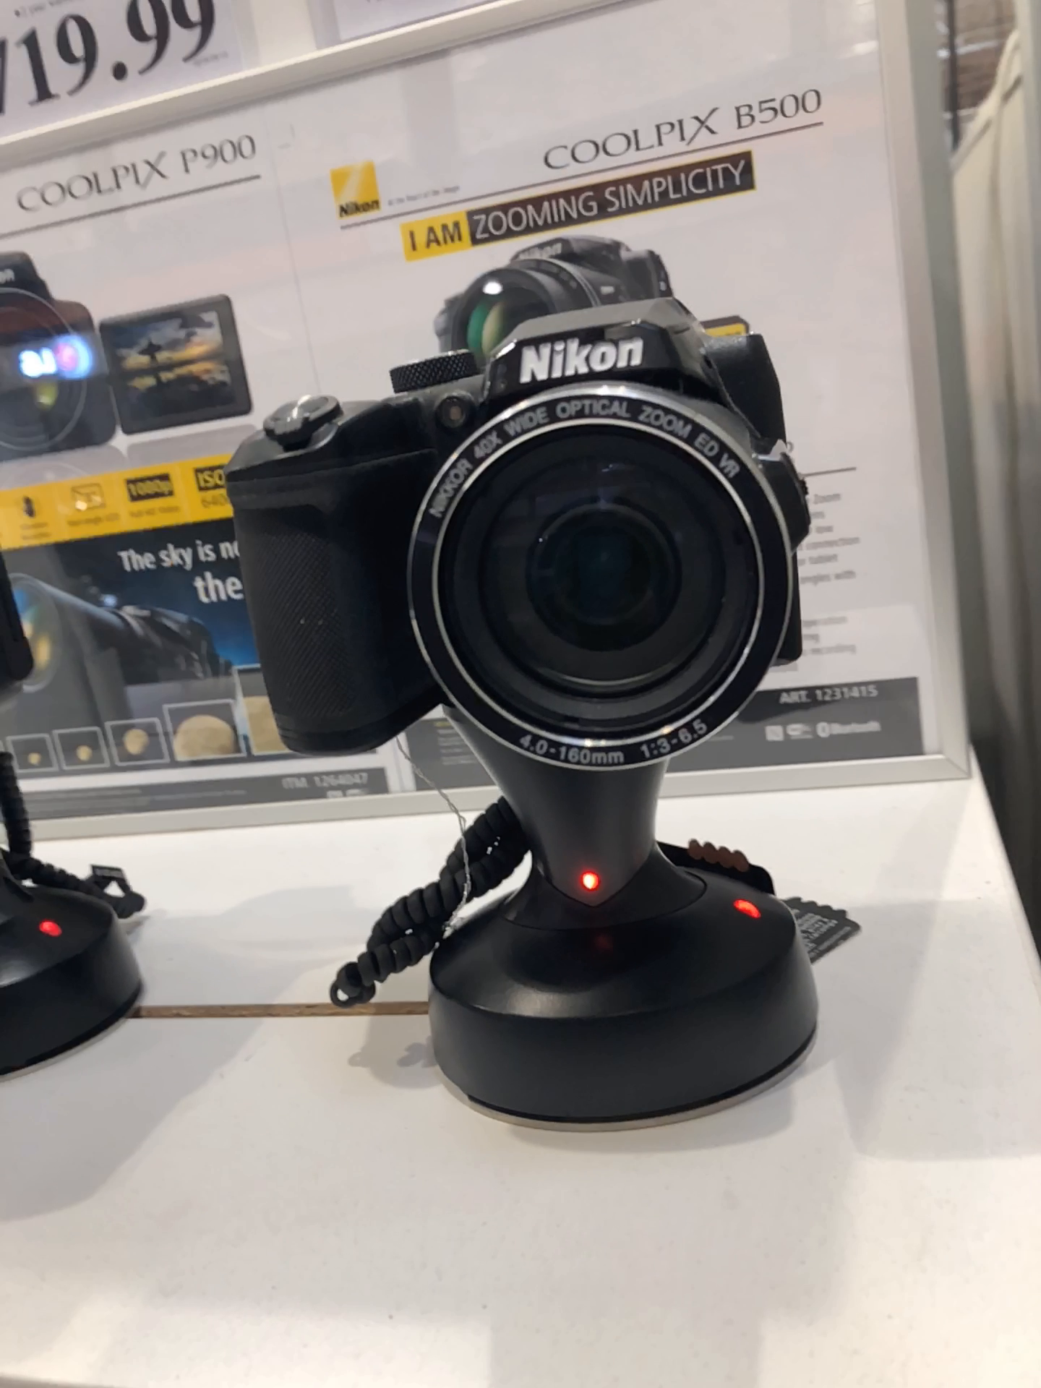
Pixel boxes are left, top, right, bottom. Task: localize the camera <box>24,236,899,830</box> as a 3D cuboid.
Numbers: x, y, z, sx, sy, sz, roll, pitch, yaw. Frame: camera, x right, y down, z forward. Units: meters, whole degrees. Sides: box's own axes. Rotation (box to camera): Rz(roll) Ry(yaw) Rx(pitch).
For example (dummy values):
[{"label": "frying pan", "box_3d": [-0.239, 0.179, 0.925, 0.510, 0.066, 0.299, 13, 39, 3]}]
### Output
[{"label": "camera", "box_3d": [-0.001, -0.031, 0.215, 0.120, 0.070, 0.100, -7, 14, 13]}]
